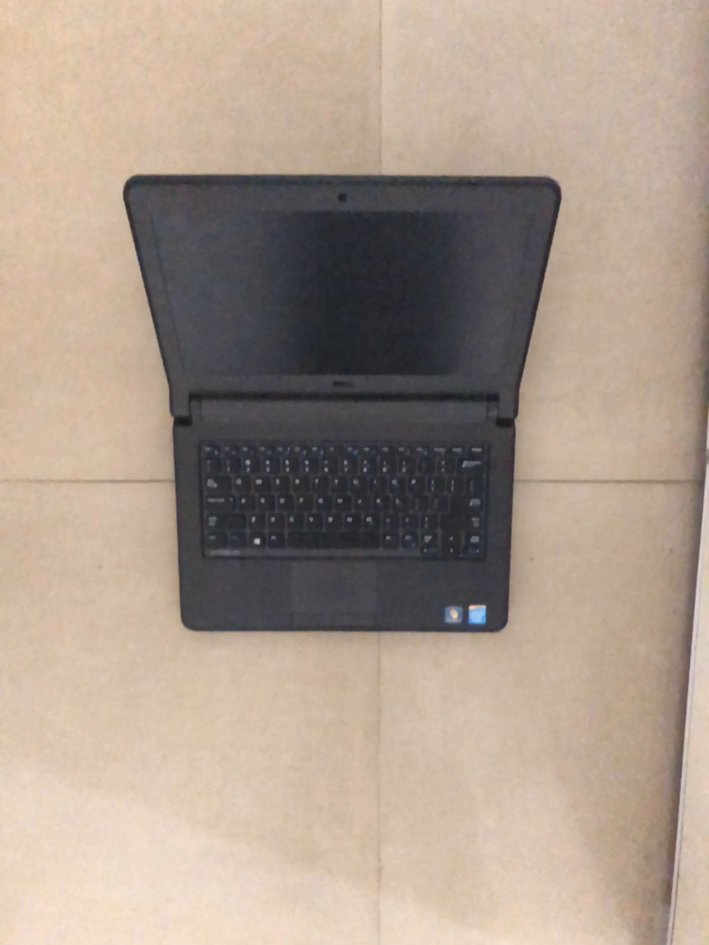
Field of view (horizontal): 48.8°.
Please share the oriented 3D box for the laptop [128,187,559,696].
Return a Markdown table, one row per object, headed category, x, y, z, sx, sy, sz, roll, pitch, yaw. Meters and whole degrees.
| category | x | y | z | sx | sy | sz | roll | pitch | yaw |
| --- | --- | --- | --- | --- | --- | --- | --- | --- | --- |
| laptop | -0.009 | -0.025 | 0.675 | 0.312 | 0.154 | 0.392 | 0 | 99 | 0 |
